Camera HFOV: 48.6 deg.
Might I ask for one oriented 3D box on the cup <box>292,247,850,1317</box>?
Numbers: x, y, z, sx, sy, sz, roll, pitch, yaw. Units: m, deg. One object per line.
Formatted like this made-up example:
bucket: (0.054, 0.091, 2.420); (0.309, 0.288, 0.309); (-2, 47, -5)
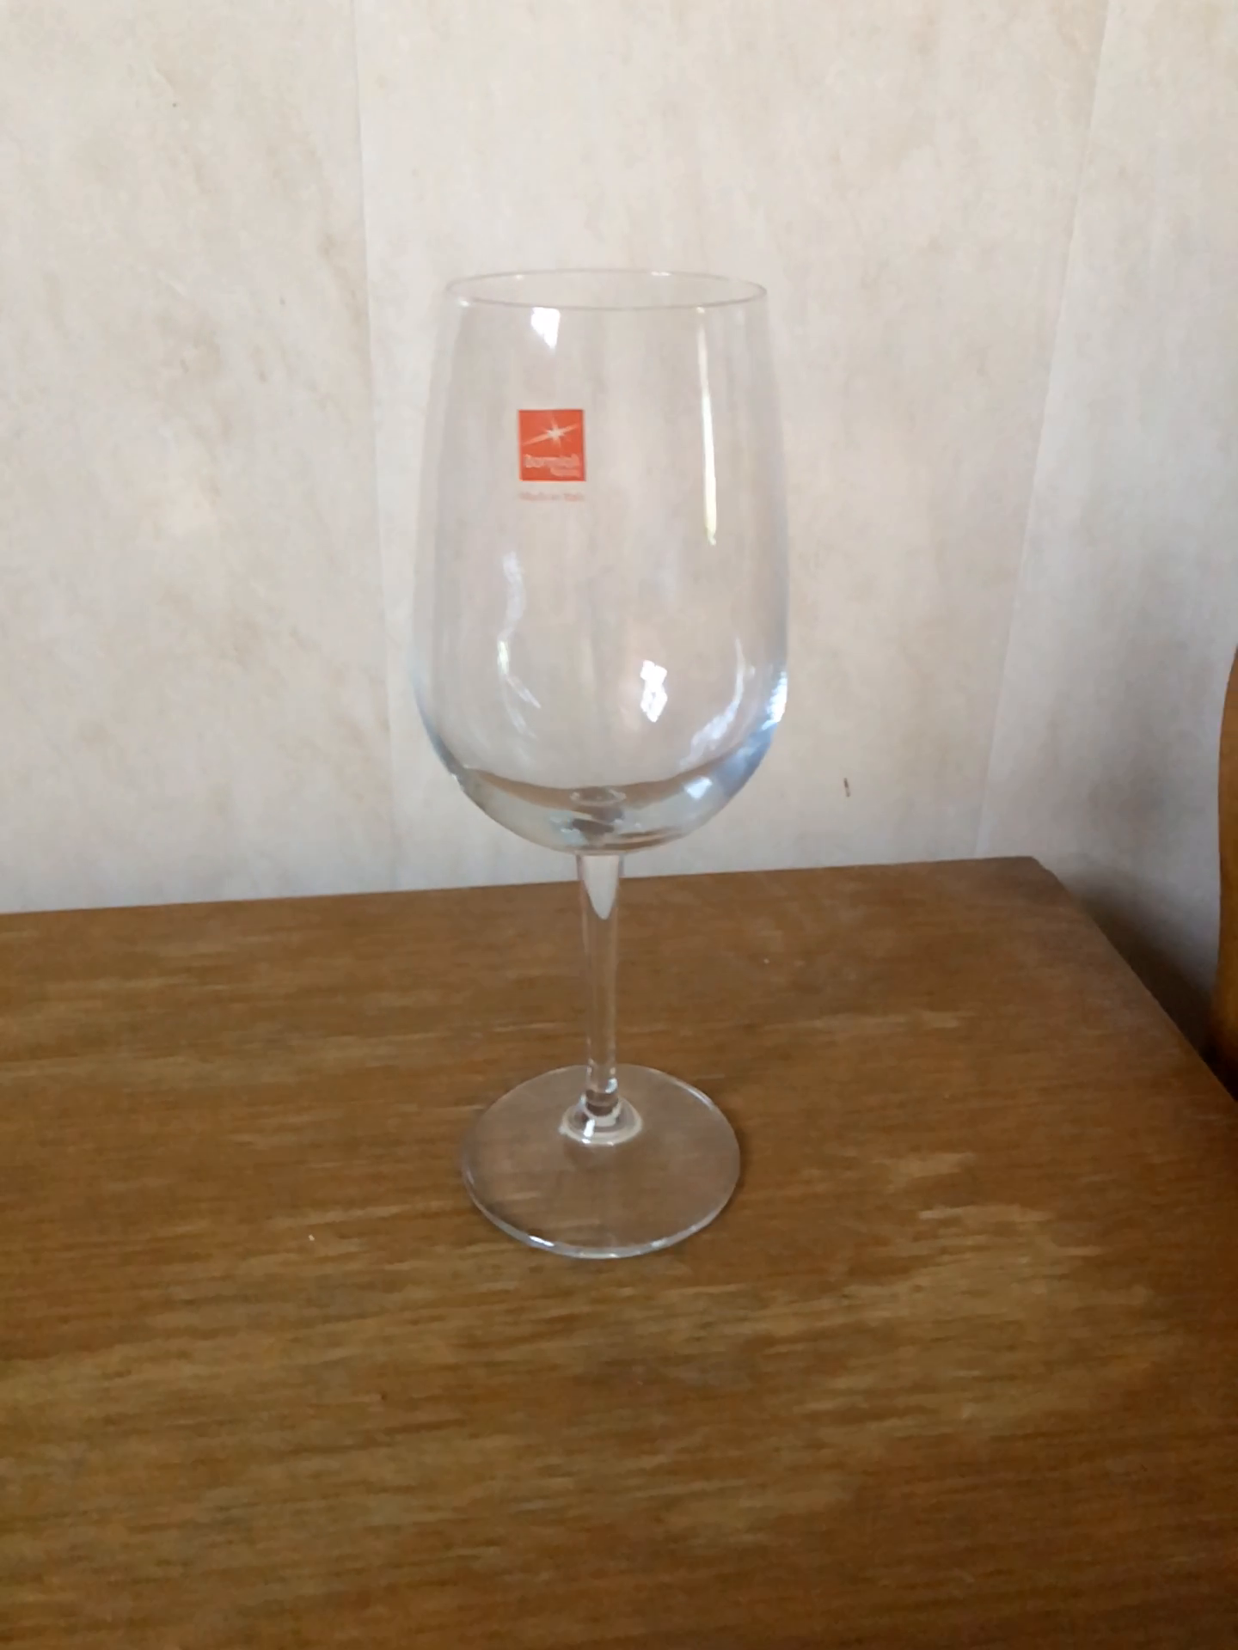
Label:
cup: (-0.006, -0.012, 0.334); (0.090, 0.229, 0.101); (8, 27, 13)
